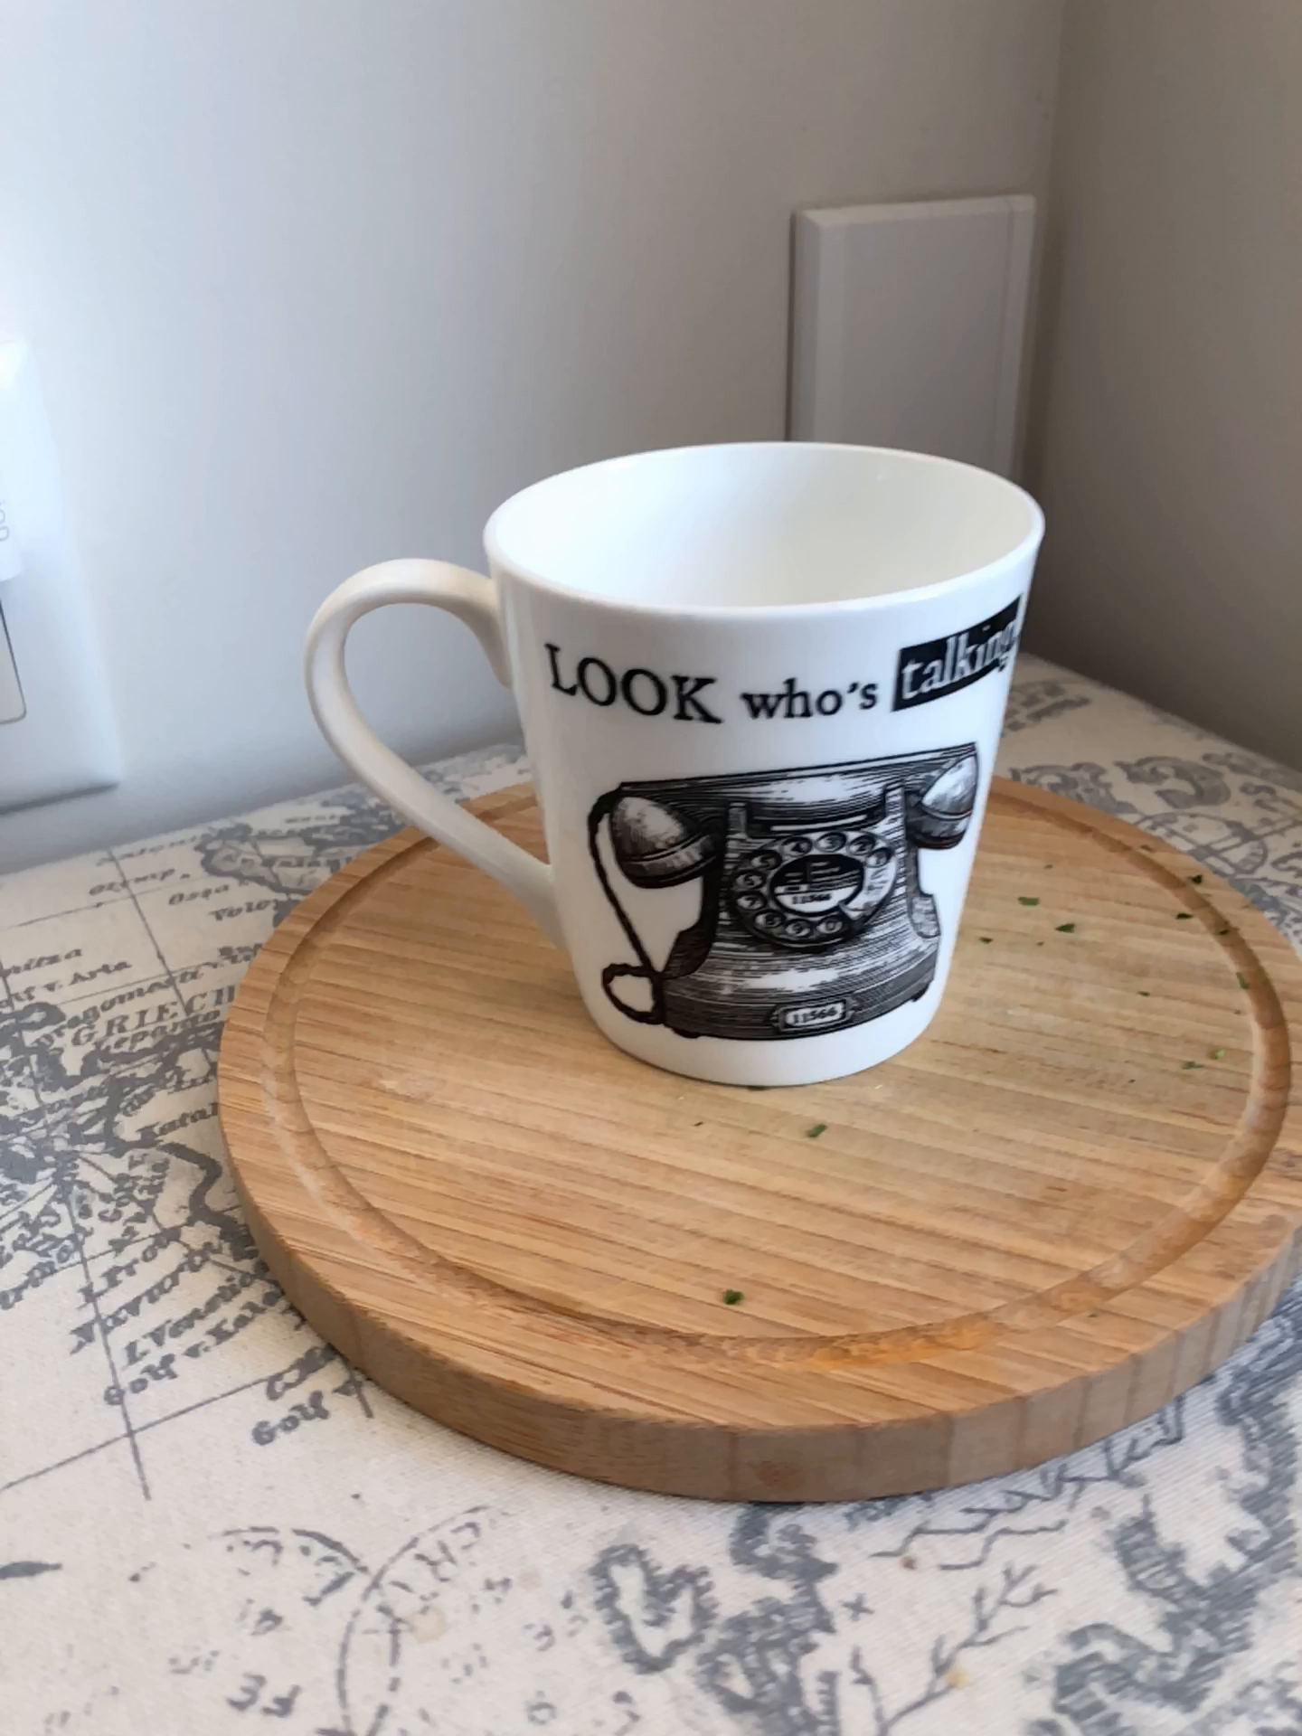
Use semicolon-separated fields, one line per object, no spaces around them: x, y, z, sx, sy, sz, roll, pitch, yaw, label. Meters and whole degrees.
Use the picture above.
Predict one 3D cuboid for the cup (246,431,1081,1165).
0.009;-0.019;0.249;0.111;0.086;0.092;5;29;11;cup
